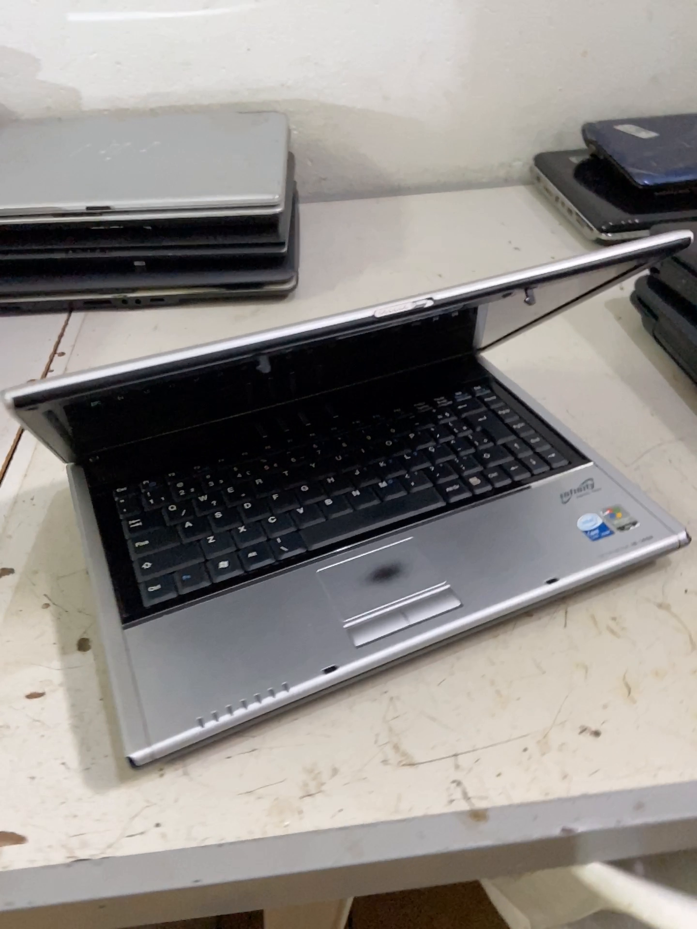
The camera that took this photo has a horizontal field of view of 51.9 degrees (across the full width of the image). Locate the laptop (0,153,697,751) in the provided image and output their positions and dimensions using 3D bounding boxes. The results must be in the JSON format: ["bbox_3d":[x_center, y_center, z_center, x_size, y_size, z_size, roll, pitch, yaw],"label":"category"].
[{"bbox_3d":[0.005,-0.040,0.413,0.331,0.164,0.228,-17,41,-18],"label":"laptop"}]
